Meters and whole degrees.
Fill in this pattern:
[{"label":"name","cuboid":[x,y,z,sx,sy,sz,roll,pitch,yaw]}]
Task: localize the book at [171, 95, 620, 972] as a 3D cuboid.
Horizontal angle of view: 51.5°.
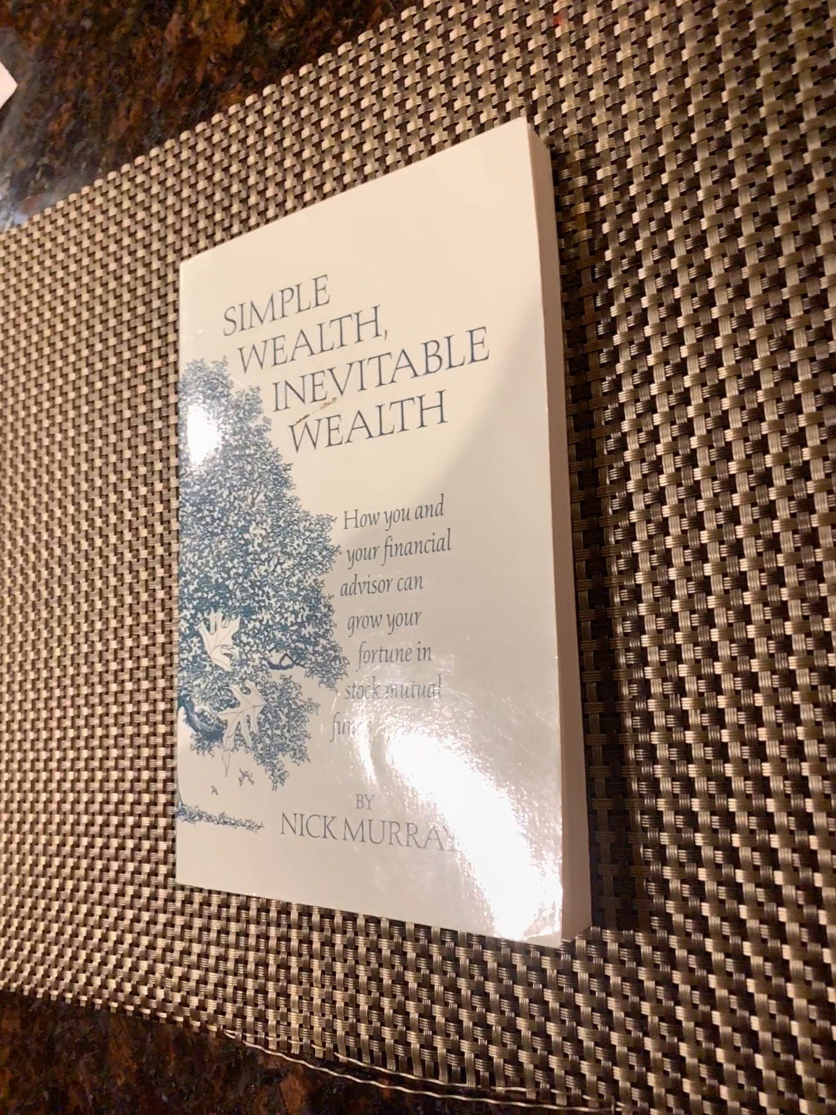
[{"label":"book","cuboid":[-0.017,-0.005,0.254,0.141,0.021,0.210,-6,83,35]}]
